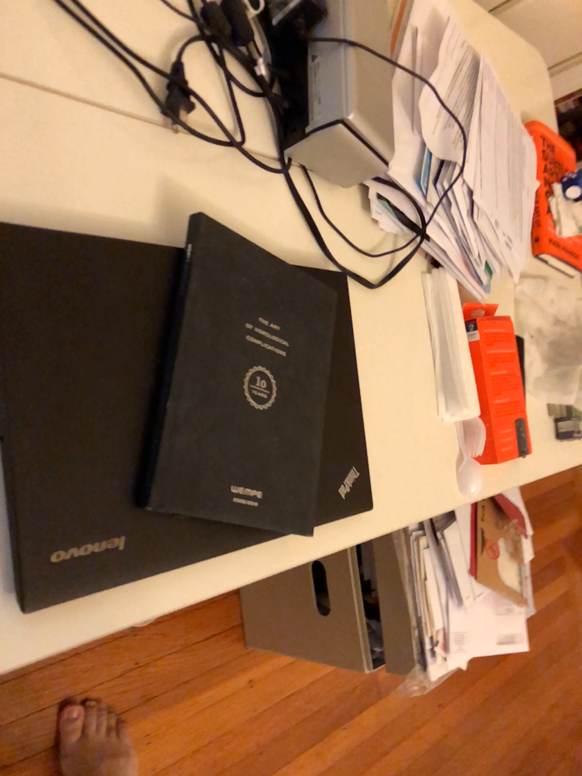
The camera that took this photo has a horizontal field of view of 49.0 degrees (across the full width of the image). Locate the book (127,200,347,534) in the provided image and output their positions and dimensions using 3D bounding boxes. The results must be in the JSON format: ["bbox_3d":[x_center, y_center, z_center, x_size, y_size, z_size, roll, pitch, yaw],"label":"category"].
[{"bbox_3d":[-0.029,-0.007,0.500,0.171,0.030,0.220,21,67,-42],"label":"book"}]
